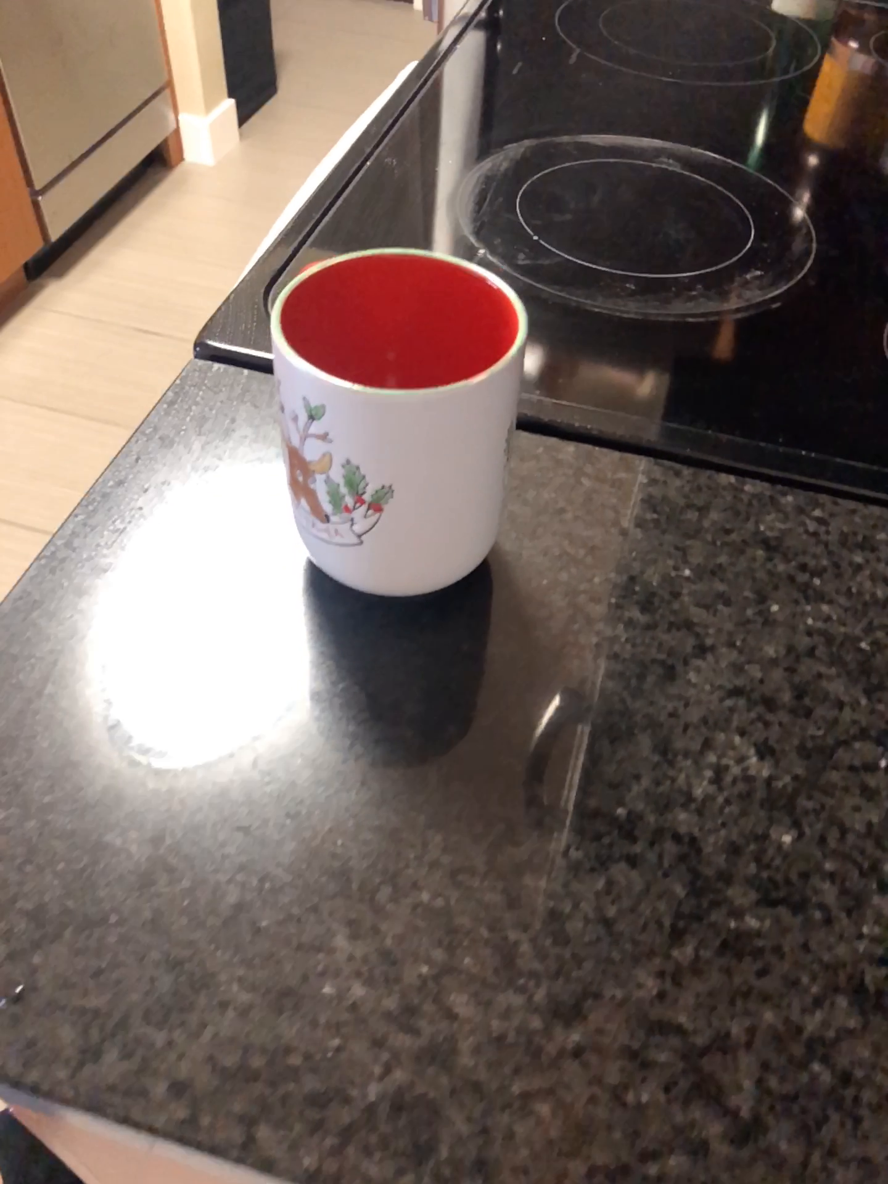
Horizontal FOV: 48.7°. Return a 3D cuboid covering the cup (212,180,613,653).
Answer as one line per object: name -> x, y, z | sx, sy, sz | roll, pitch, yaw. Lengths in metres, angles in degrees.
cup -> -0.018, -0.072, 0.385 | 0.090, 0.110, 0.130 | -21, 52, -21
